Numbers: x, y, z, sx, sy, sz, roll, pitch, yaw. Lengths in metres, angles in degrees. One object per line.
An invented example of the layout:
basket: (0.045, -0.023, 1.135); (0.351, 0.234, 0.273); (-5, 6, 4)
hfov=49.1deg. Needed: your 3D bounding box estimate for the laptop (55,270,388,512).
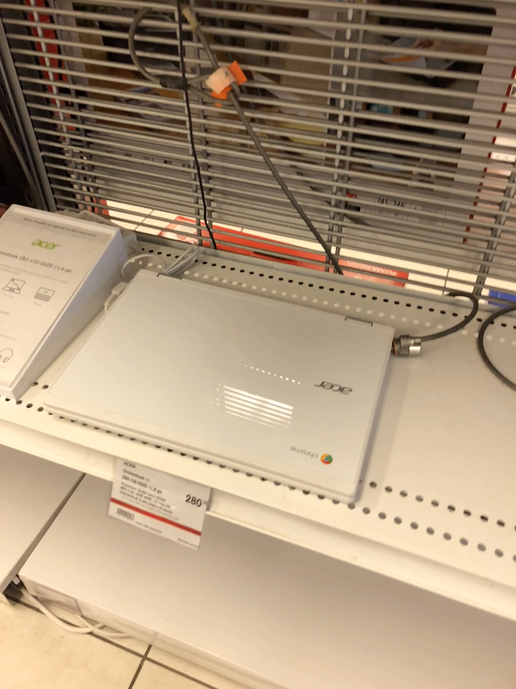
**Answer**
laptop: (-0.031, 0.029, 0.561); (0.286, 0.024, 0.184); (14, 54, 15)
